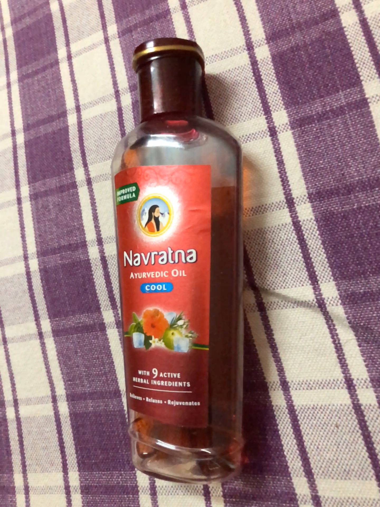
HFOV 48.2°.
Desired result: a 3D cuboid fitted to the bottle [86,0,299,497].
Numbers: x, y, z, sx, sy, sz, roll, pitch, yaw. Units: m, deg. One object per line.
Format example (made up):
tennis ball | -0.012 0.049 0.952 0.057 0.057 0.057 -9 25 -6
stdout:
bottle | -0.001 -0.012 0.193 0.070 0.050 0.200 -7 82 27
